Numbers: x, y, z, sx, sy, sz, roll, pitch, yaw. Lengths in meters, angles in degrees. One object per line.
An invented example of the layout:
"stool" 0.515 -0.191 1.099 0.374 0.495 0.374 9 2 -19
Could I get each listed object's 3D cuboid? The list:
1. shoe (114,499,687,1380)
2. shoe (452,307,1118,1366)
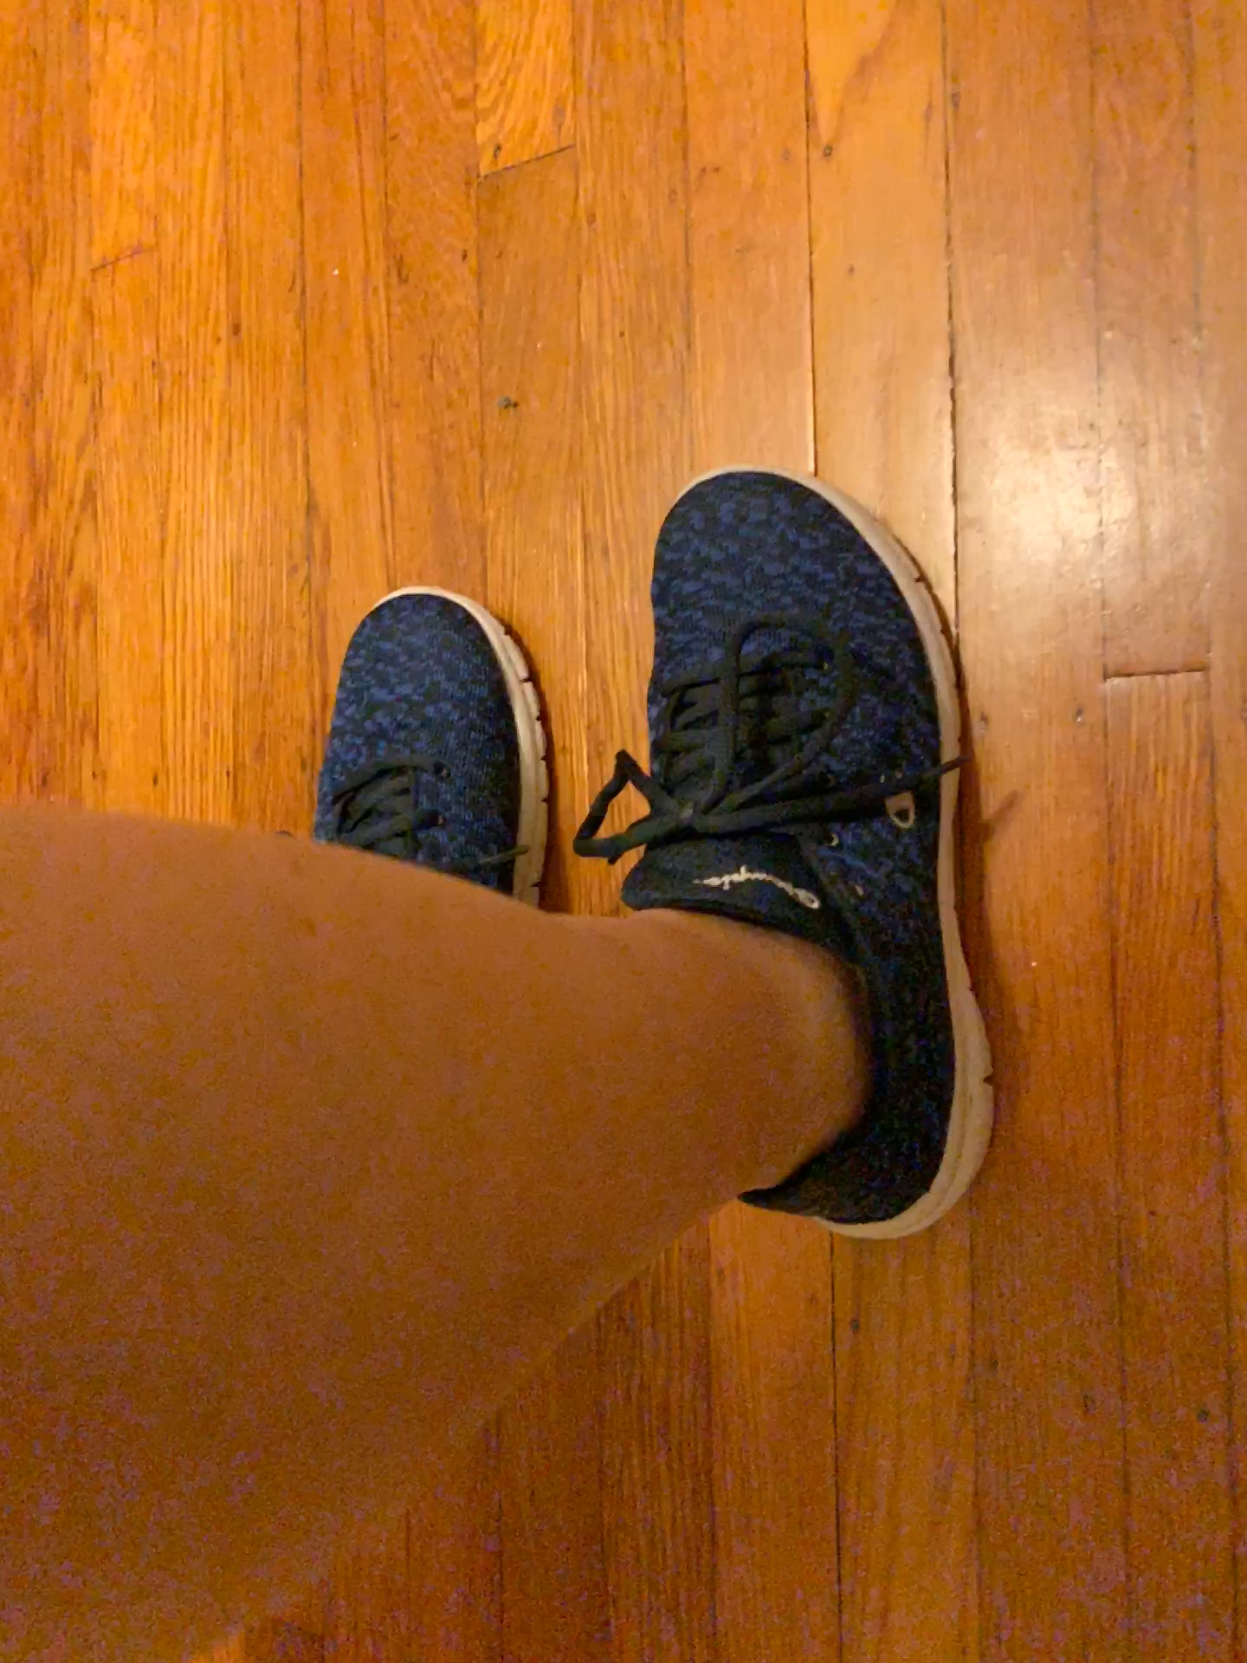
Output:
"shoe" -0.084 0.042 0.508 0.116 0.149 0.290 -13 83 29
"shoe" 0.055 0.007 0.417 0.118 0.129 0.280 -16 81 29
